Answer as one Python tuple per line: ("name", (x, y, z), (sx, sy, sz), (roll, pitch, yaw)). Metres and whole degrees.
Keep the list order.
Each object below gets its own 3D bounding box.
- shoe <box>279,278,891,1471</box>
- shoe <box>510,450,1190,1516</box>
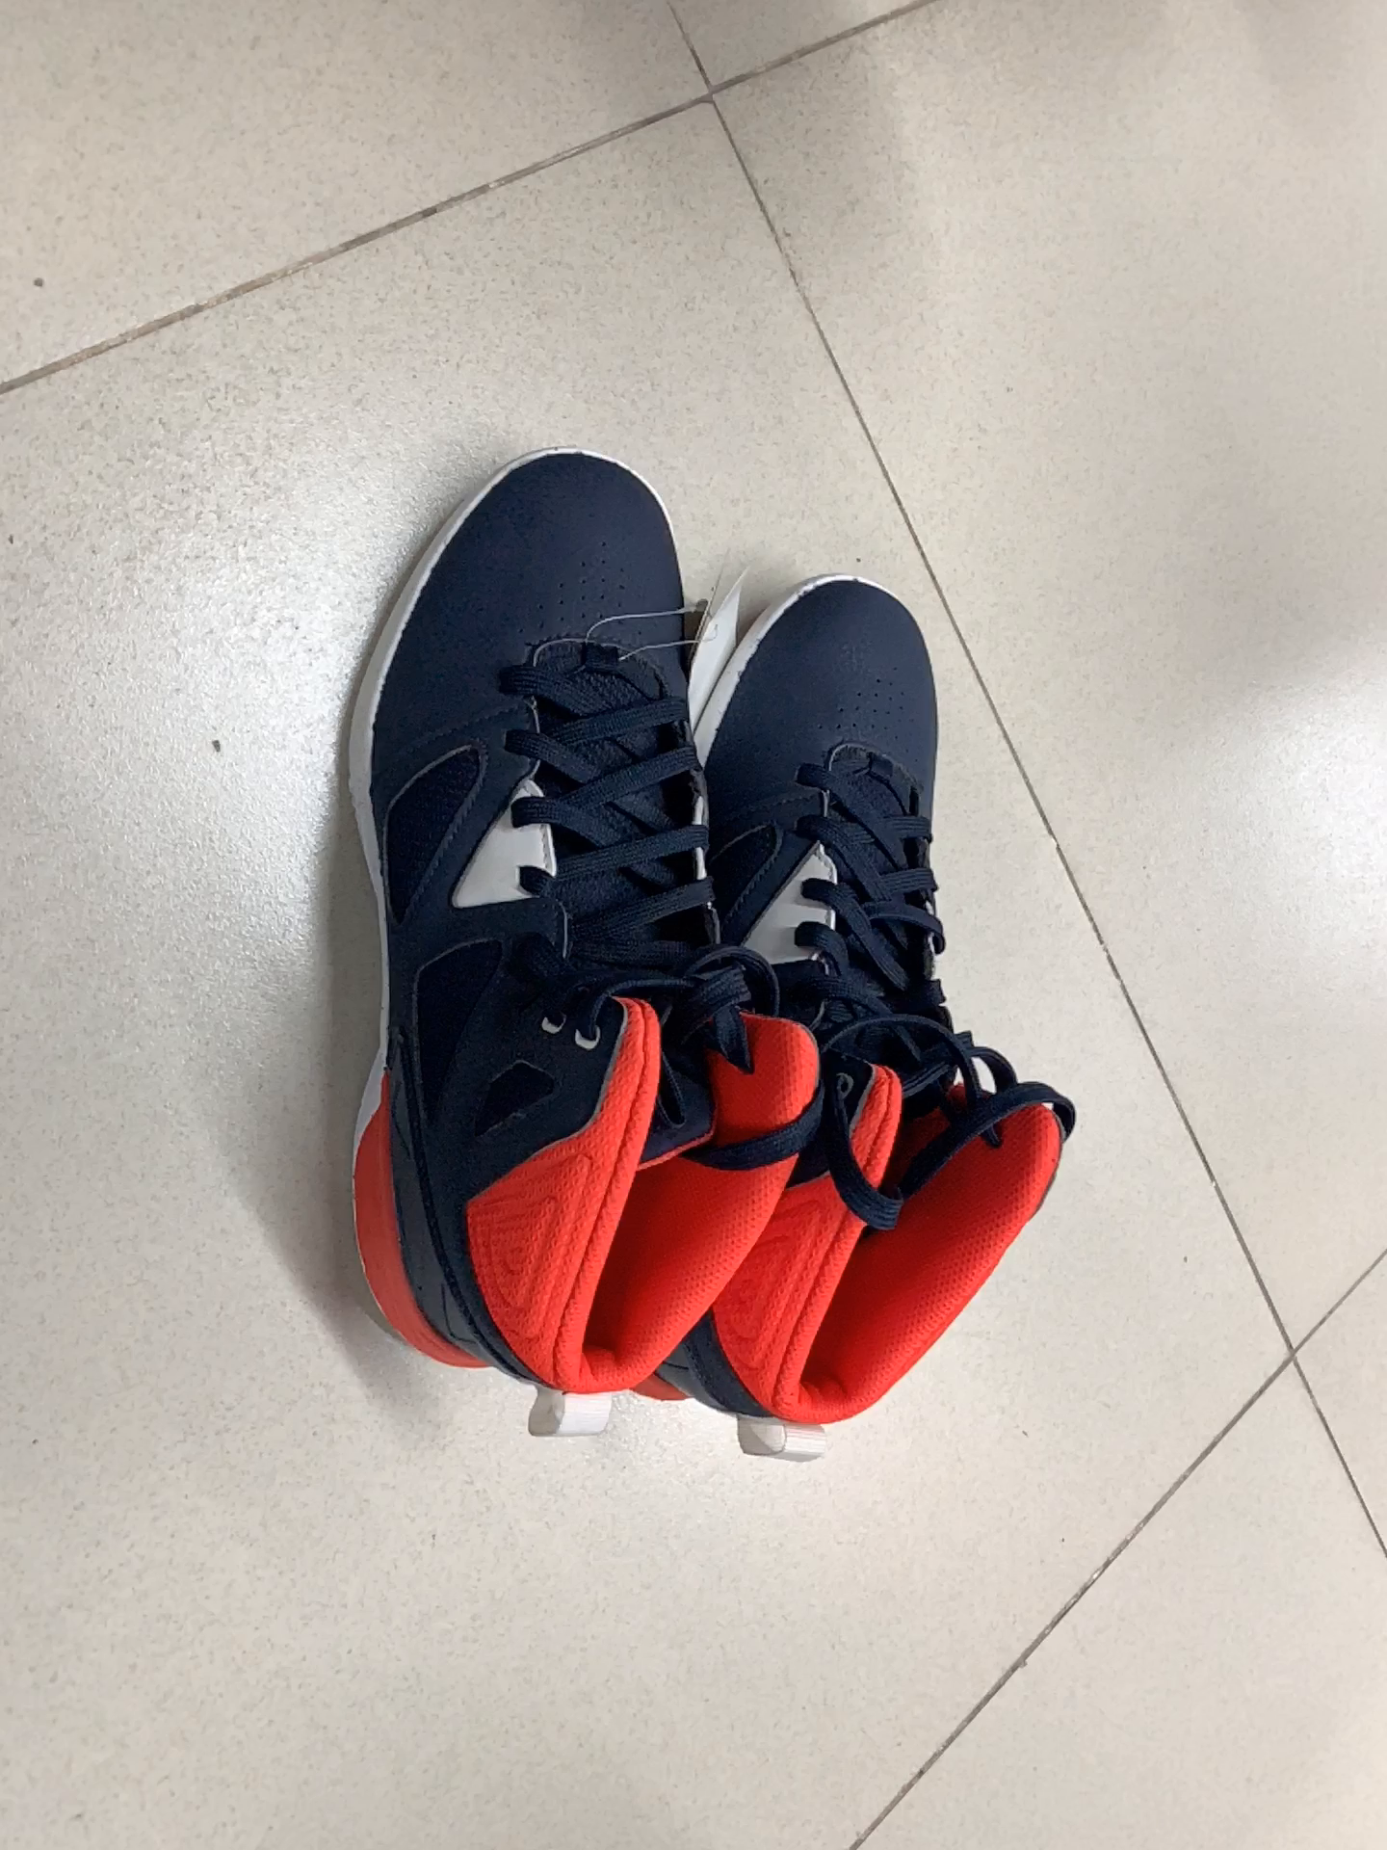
("shoe", (-0.034, -0.008, 0.411), (0.110, 0.100, 0.290), (9, 87, -27))
("shoe", (0.048, 0.020, 0.463), (0.110, 0.120, 0.290), (17, 84, -27))
